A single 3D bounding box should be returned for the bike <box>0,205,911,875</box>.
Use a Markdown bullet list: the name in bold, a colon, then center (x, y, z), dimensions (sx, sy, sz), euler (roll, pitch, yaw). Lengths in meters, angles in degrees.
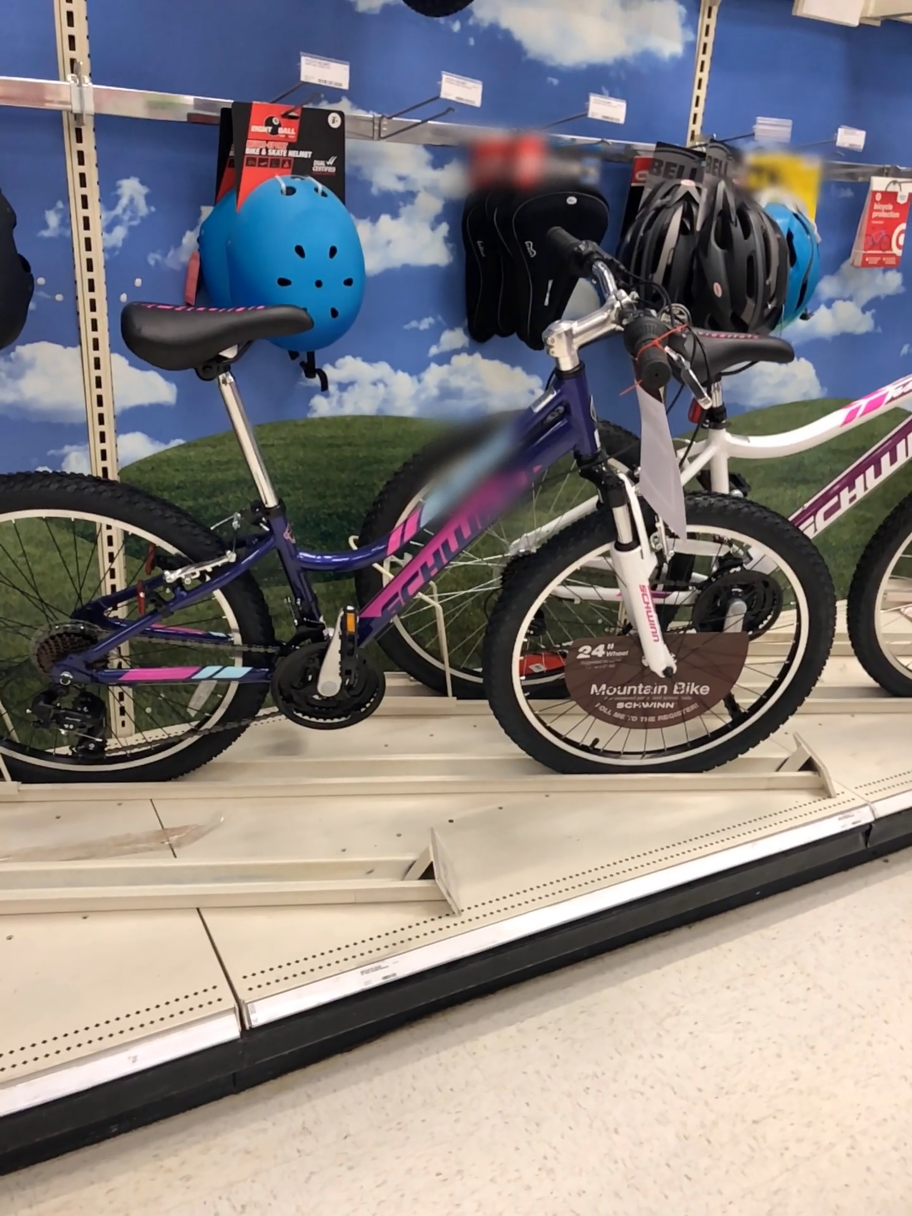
- **bike**: center (0.001, -0.131, 1.453), dimensions (1.222, 0.799, 0.570), euler (2, 22, -2)
